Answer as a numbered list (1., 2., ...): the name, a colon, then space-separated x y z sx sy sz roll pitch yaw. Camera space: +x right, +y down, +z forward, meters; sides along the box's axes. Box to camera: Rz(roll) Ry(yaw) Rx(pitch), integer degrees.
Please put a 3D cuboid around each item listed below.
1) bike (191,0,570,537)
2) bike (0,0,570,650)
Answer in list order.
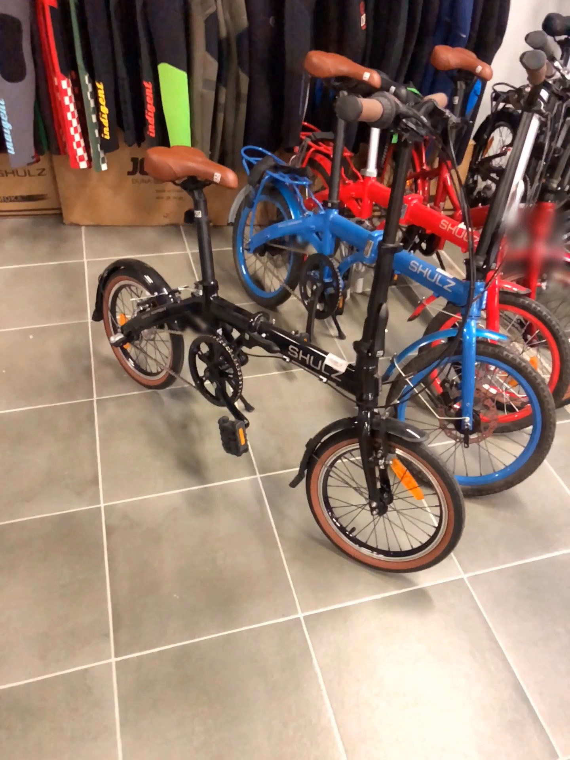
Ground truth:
1. bike: 0.355 -0.472 1.857 0.568 1.029 1.377 -25 50 -30
2. bike: -0.050 -0.243 1.496 1.275 1.057 0.566 30 47 29
